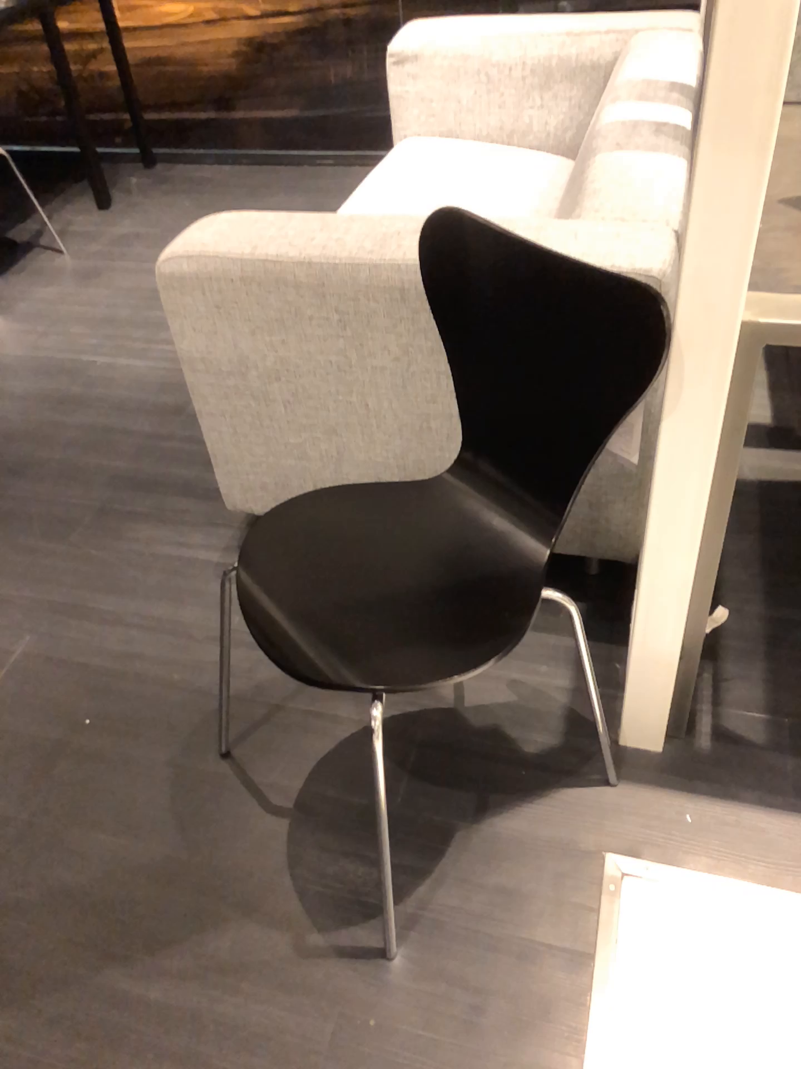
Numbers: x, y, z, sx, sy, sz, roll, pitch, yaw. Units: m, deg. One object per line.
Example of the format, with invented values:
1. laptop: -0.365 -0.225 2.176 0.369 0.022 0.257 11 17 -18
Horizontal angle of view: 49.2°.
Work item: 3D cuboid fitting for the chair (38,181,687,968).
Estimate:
1. chair: -0.023 0.054 1.192 0.501 0.804 0.492 -31 46 -26
